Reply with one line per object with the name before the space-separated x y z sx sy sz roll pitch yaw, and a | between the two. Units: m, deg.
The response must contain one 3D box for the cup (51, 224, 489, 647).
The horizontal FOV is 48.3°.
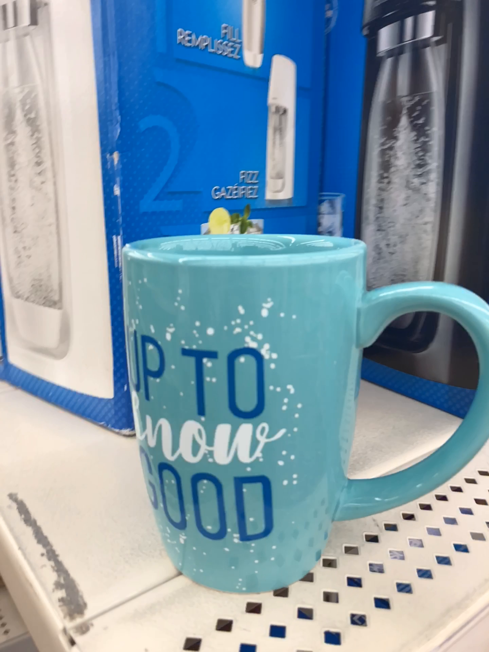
cup | 0.018 0.026 0.210 0.140 0.120 0.090 3 14 12
